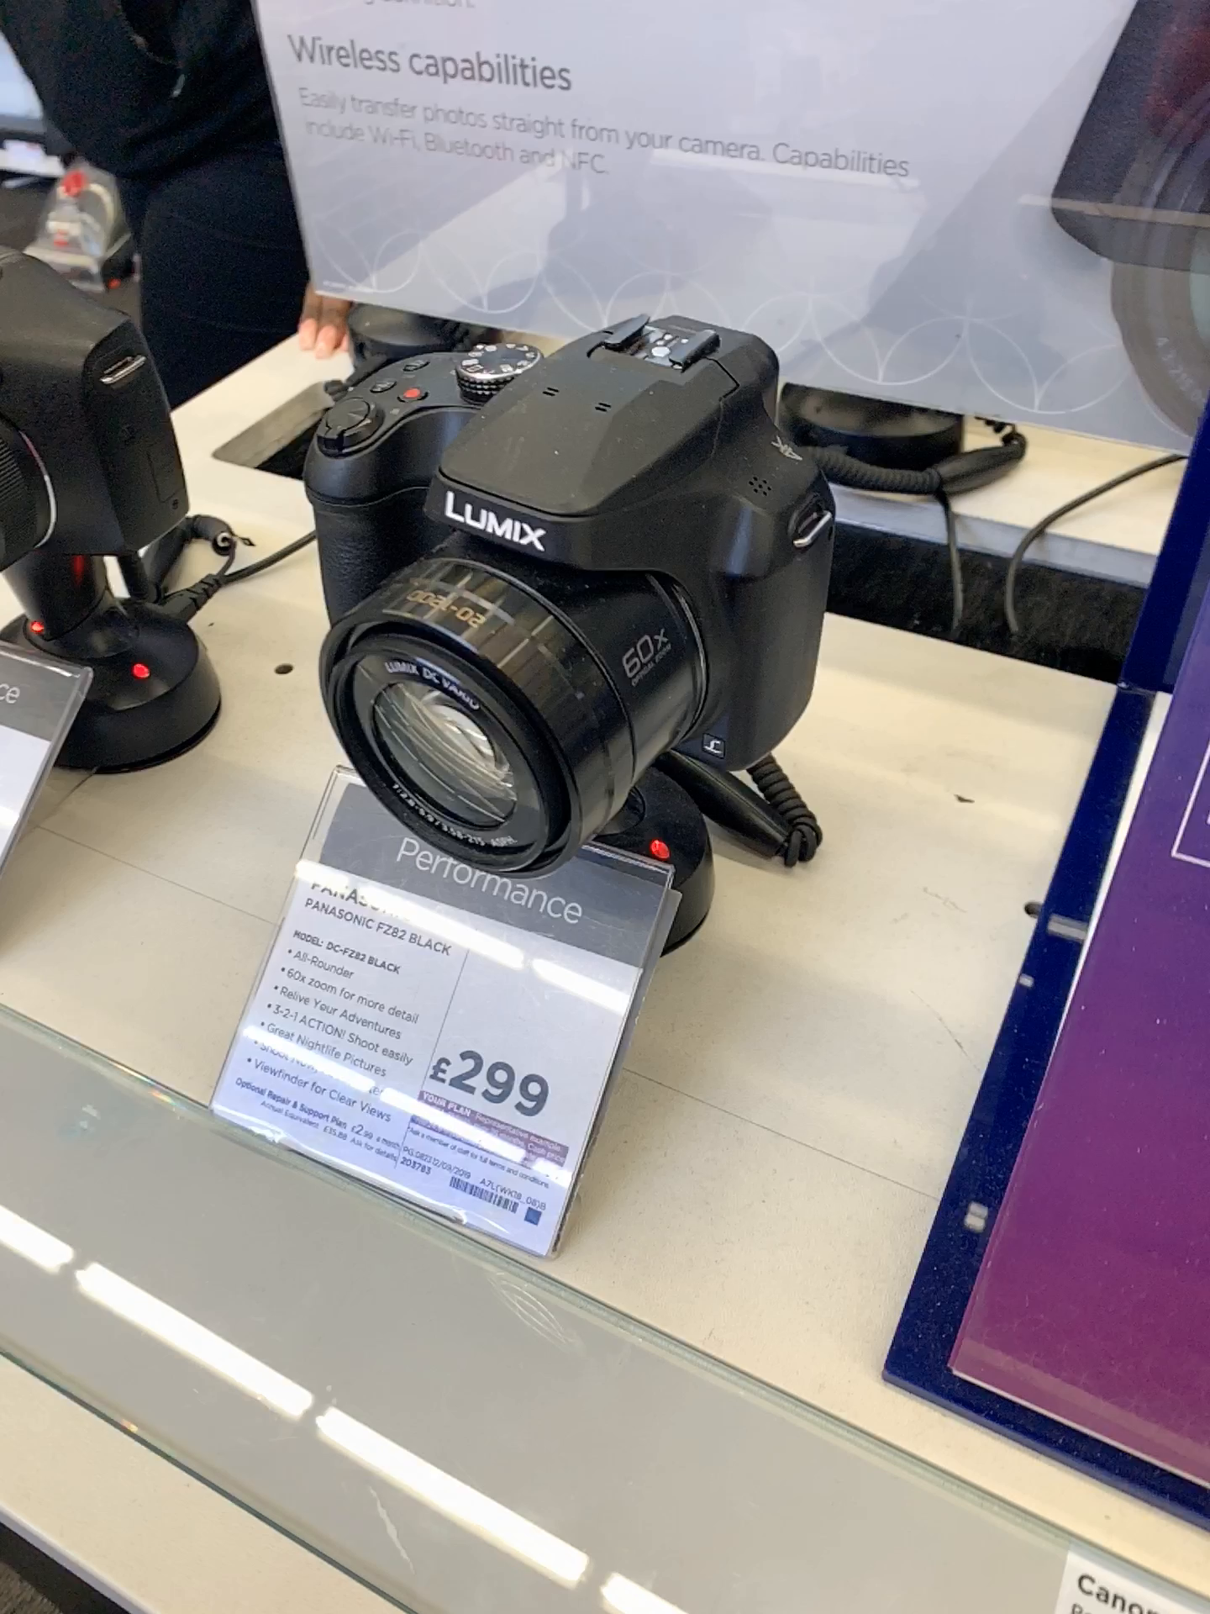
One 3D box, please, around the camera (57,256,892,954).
[{"bbox_3d":[-0.022,-0.057,0.289,0.130,0.079,0.121,21,48,24],"label":"camera"}]
